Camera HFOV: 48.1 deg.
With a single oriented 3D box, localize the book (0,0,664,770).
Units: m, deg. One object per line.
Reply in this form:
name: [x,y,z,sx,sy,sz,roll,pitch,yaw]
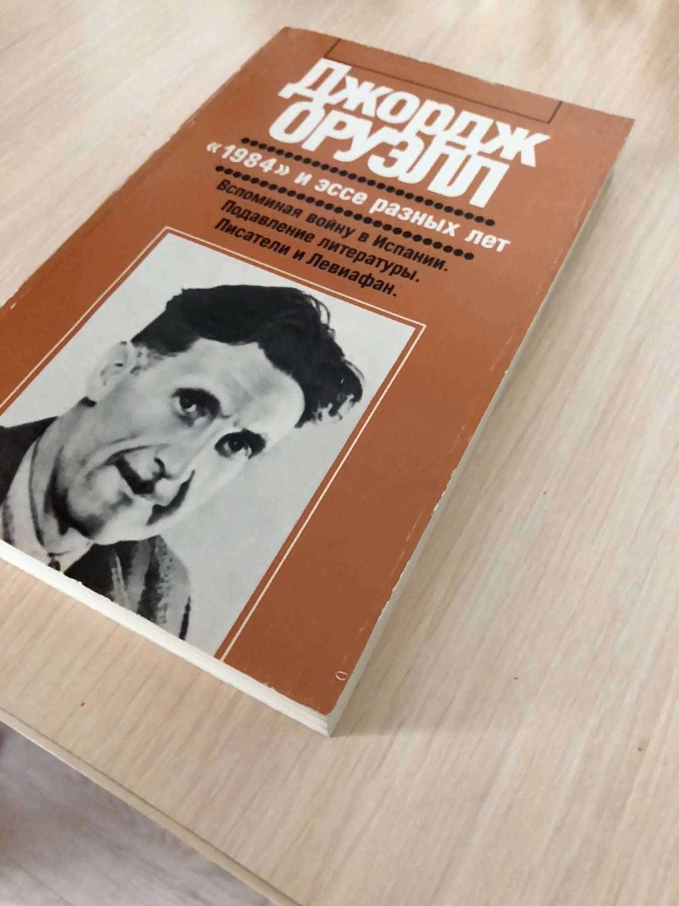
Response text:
book: [-0.008,-0.048,0.210,0.130,0.040,0.211,23,60,15]
